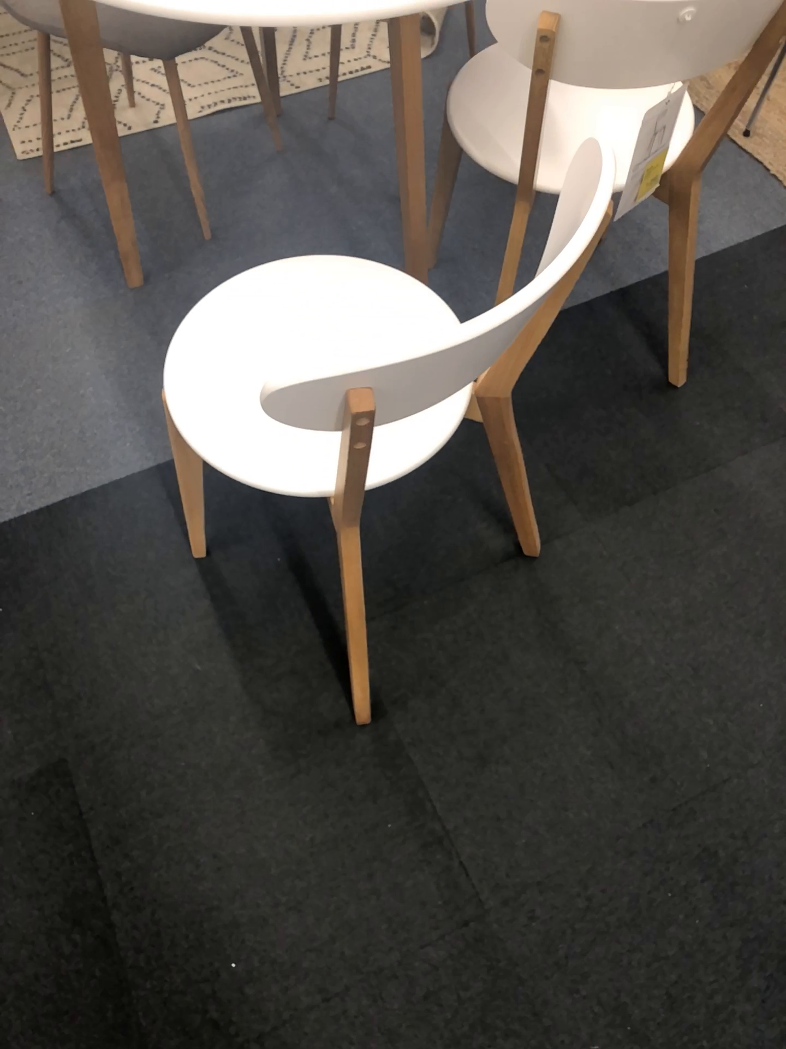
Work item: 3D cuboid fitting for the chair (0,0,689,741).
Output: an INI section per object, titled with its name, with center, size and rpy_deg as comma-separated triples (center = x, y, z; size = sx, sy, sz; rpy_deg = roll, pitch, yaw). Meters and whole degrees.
[chair]
center = -0.086, -0.185, 1.081
size = 0.561, 0.599, 0.481
rpy_deg = 40, 67, 22
